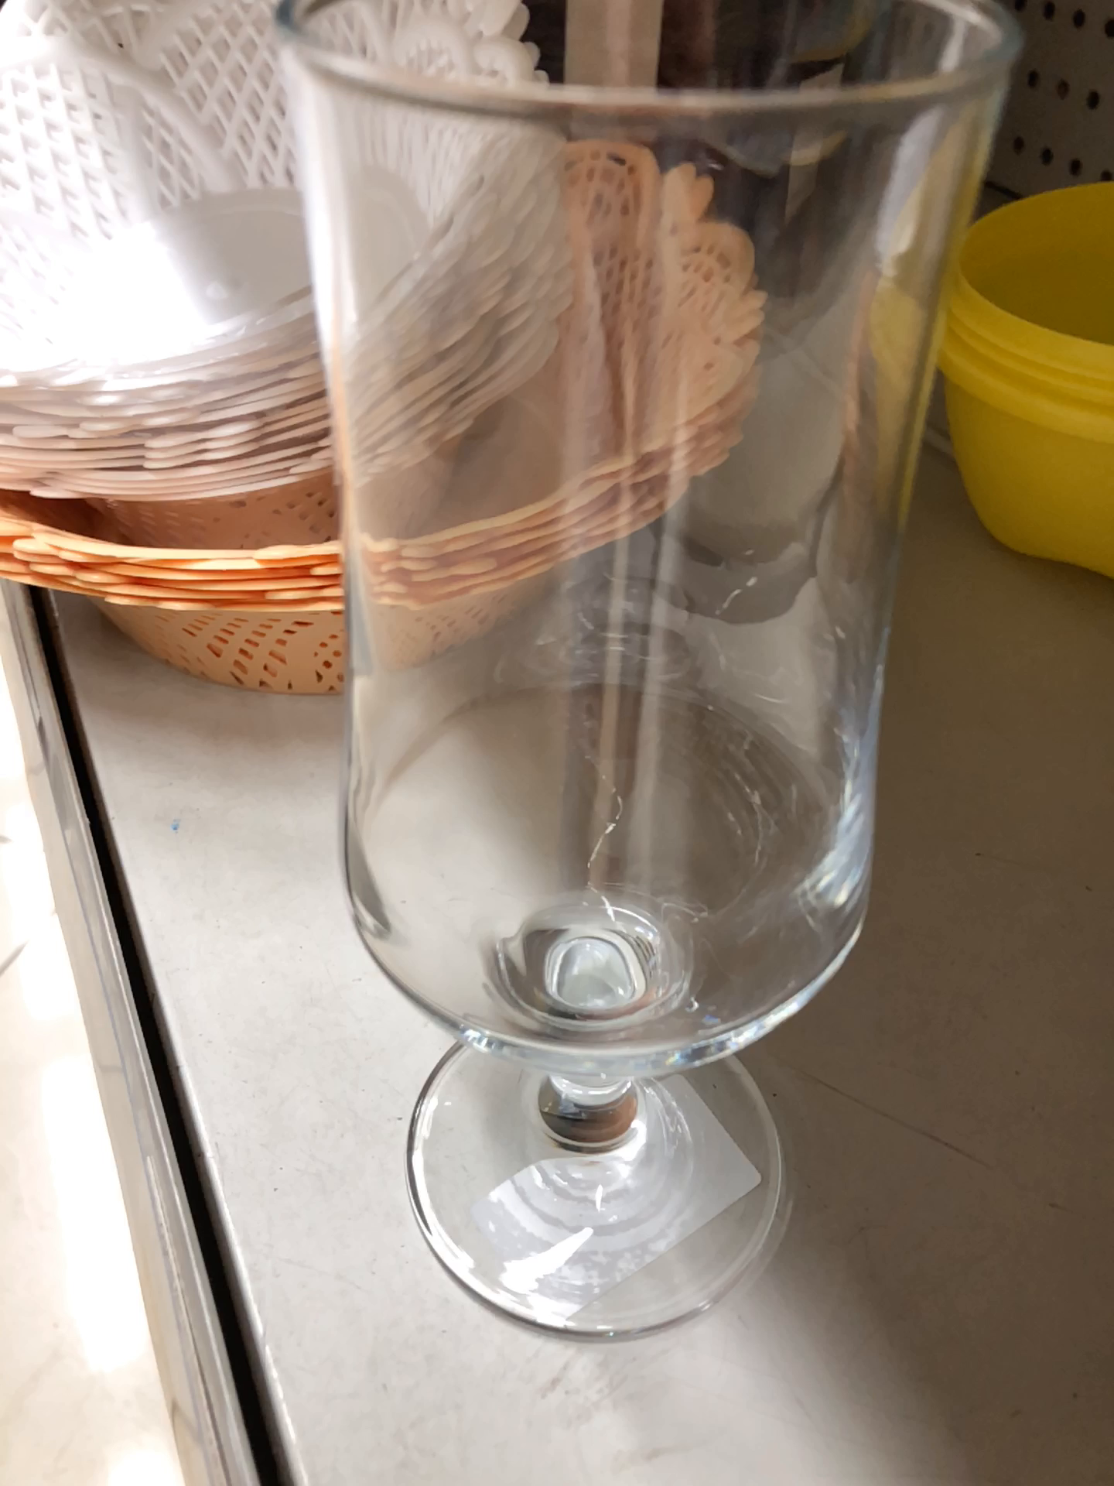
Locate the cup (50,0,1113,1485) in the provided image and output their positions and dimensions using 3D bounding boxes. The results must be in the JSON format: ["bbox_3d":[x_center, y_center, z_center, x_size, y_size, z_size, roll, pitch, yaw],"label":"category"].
[{"bbox_3d":[0.006,0.008,0.172,0.075,0.194,0.078,0,40,0],"label":"cup"}]
